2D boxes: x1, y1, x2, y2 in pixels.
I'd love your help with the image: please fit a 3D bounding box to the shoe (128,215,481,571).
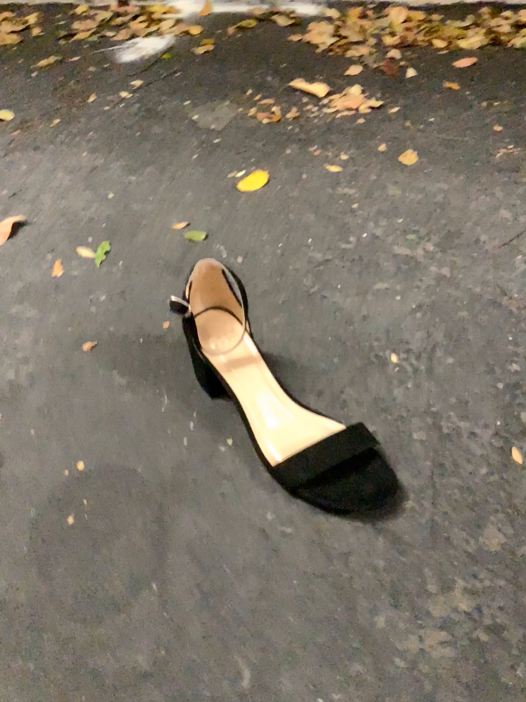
[{"bbox_3d":[0.019,0.019,0.495,0.120,0.140,0.270,-31,50,-26],"label":"shoe"}]
